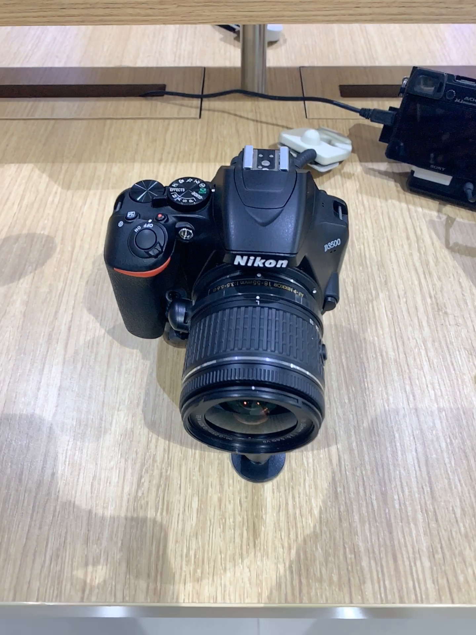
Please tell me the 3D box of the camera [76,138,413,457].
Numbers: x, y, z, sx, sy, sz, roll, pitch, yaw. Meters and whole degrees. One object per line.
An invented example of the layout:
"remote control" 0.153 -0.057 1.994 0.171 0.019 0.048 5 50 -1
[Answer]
"camera" 0.003 -0.007 0.216 0.102 0.091 0.104 1 54 1
